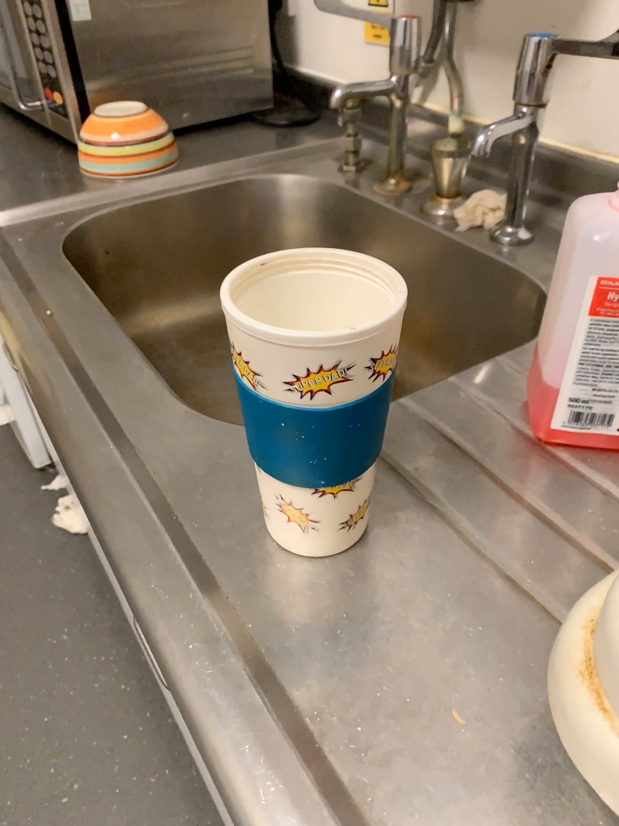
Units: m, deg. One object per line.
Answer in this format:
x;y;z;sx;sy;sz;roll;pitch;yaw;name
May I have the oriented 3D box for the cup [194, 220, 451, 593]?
0.004;-0.003;0.357;0.092;0.167;0.090;-1;37;0;cup
